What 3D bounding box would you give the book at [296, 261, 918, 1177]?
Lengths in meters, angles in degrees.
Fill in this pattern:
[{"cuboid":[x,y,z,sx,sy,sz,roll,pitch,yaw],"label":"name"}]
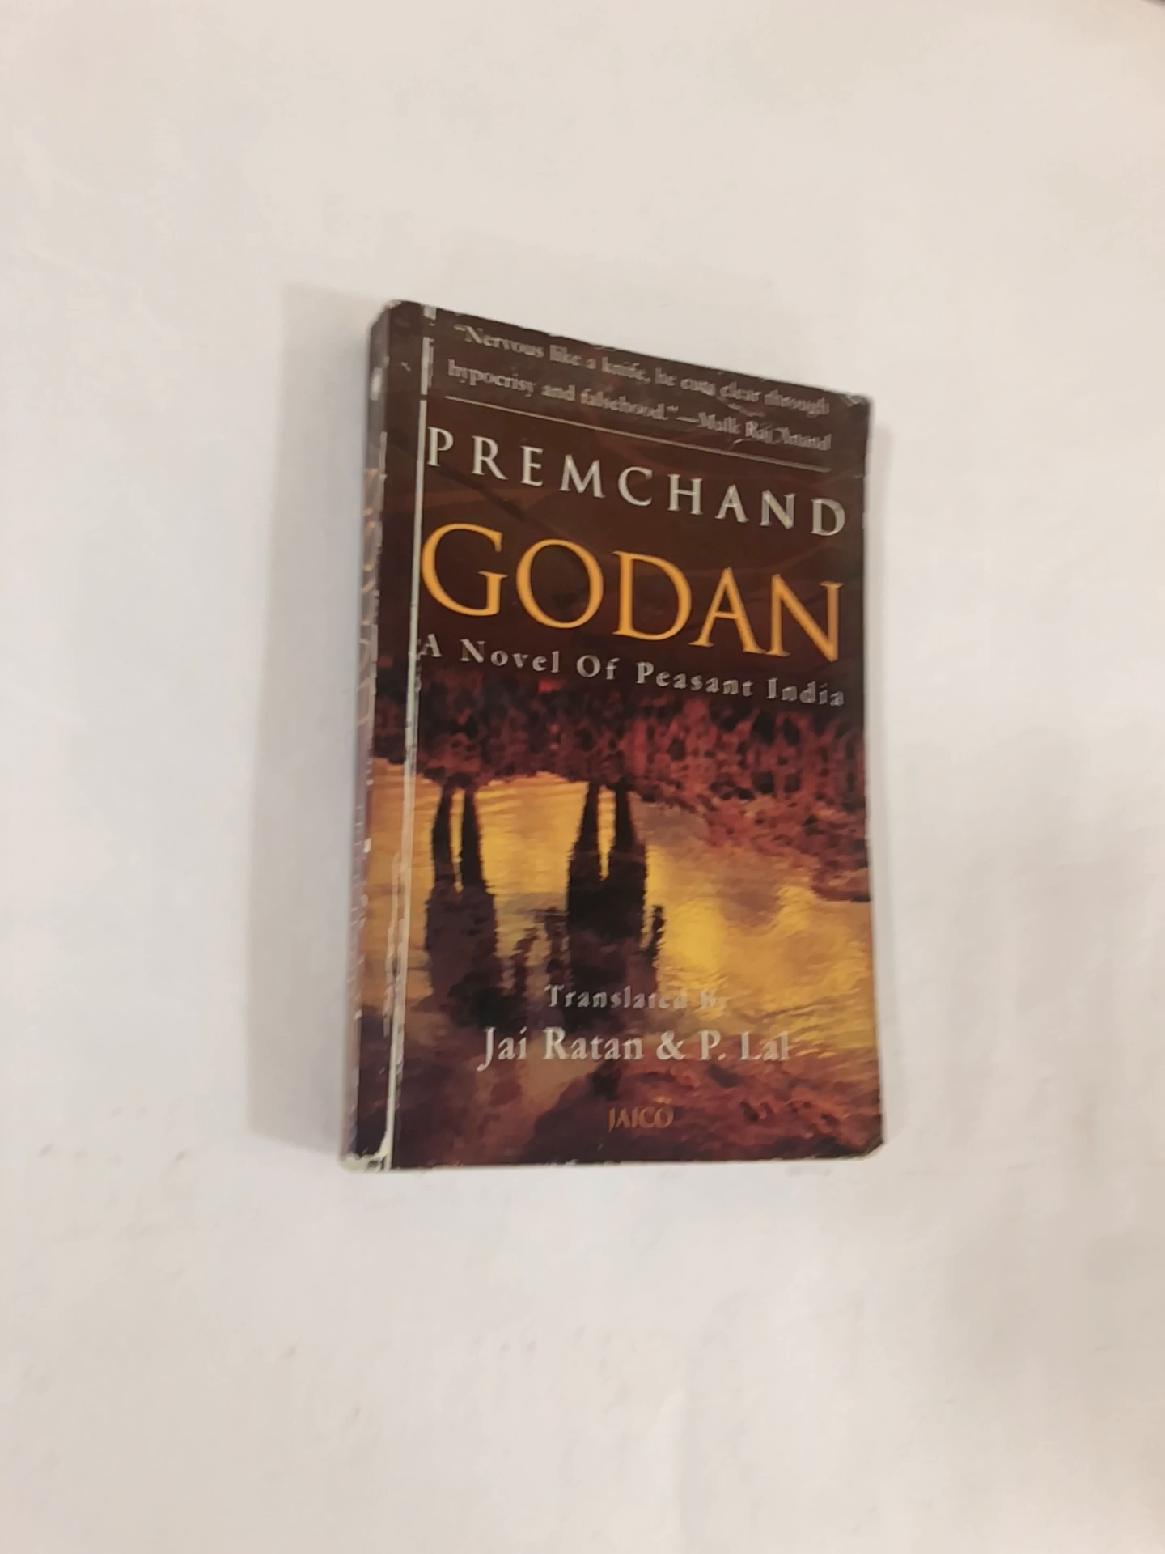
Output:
[{"cuboid":[0.012,-0.011,0.331,0.150,0.030,0.210,6,79,-21],"label":"book"}]
